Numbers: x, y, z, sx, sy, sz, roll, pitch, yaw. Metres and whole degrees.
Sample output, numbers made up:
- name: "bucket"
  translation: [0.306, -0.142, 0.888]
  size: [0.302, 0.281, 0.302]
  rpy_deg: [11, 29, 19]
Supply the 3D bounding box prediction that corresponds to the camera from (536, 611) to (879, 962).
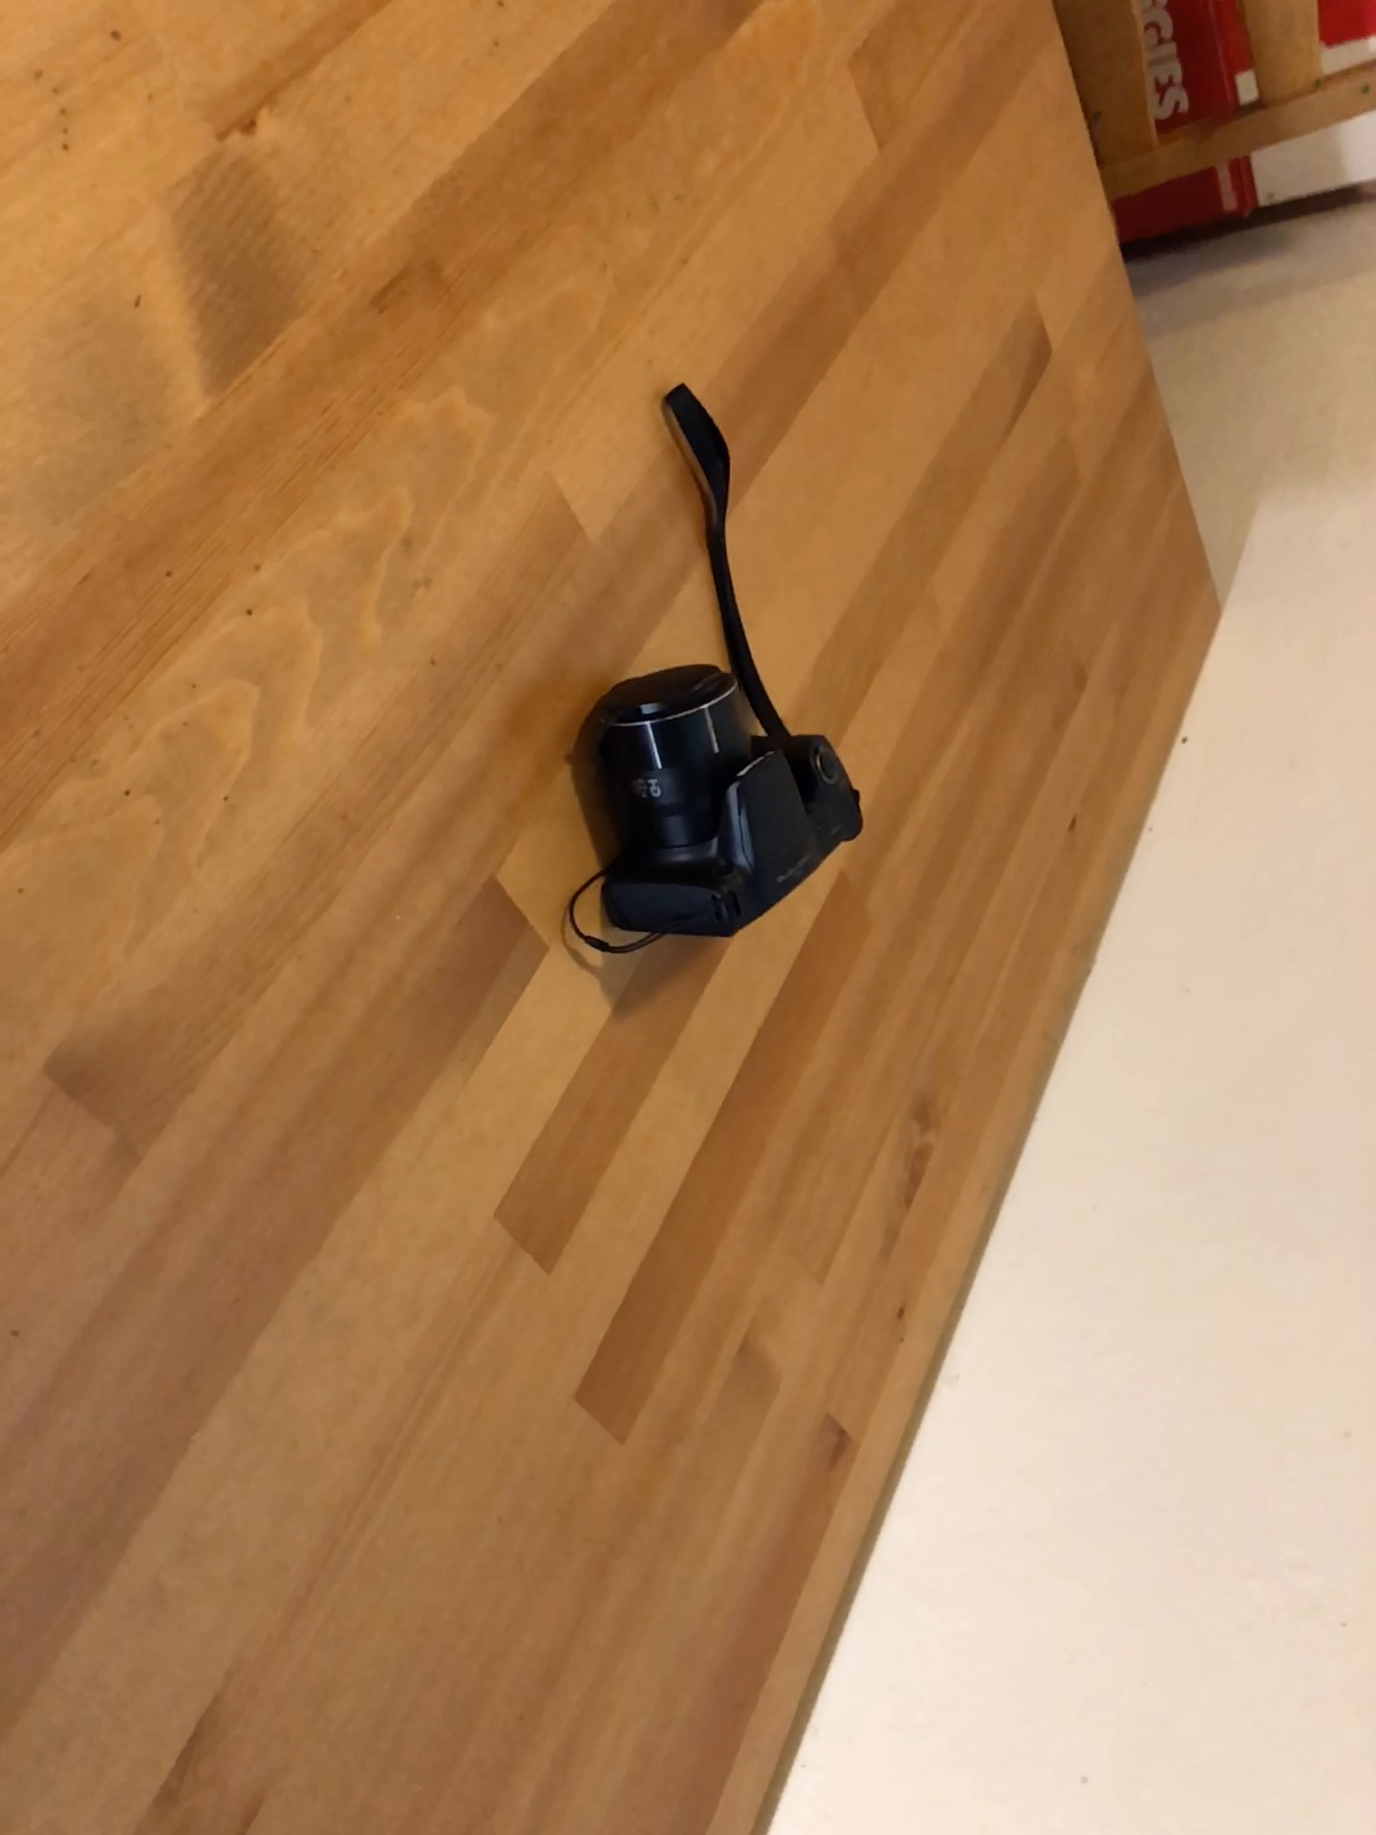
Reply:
- name: "camera"
  translation: [0.012, -0.053, 0.596]
  size: [0.110, 0.062, 0.096]
  rpy_deg: [-41, 123, -43]
